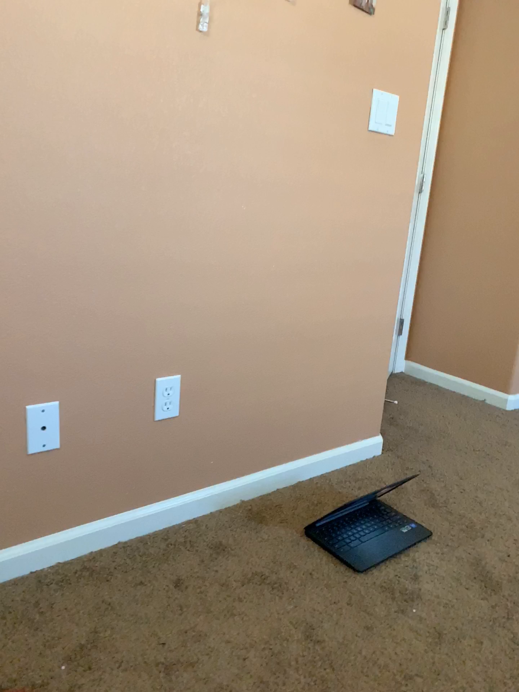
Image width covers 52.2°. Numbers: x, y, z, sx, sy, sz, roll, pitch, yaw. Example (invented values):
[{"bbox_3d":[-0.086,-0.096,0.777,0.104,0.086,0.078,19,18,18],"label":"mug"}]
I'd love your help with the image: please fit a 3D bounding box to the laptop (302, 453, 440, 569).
[{"bbox_3d":[0.292,0.417,1.386,0.292,0.140,0.192,-6,19,-38],"label":"laptop"}]
